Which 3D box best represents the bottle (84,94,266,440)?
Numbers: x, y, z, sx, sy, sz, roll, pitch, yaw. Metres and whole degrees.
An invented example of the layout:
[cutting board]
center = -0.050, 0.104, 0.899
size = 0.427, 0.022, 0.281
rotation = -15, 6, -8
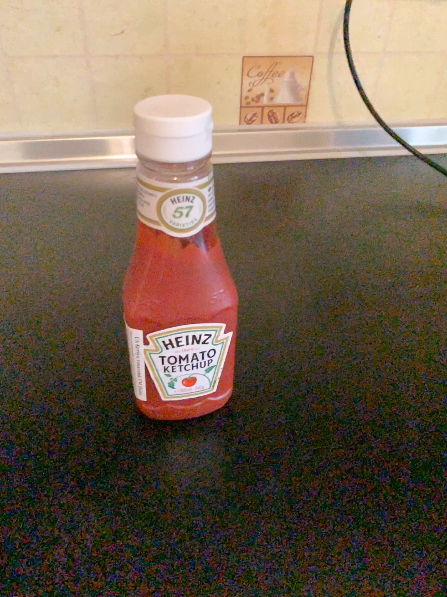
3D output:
[bottle]
center = -0.026, -0.004, 0.254
size = 0.070, 0.189, 0.050
rotation = -7, 40, -11
